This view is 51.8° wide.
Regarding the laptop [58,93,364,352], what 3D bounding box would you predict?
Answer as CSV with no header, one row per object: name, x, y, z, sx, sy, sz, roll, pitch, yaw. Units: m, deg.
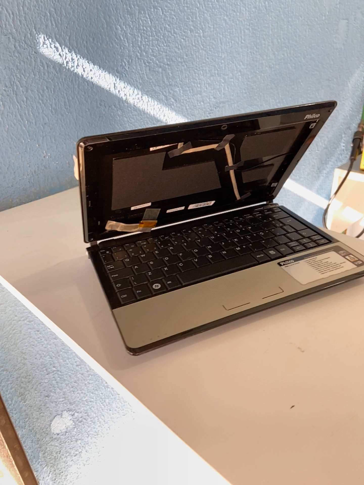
laptop,0.041,-0.049,0.390,0.276,0.144,0.177,-15,32,-19
